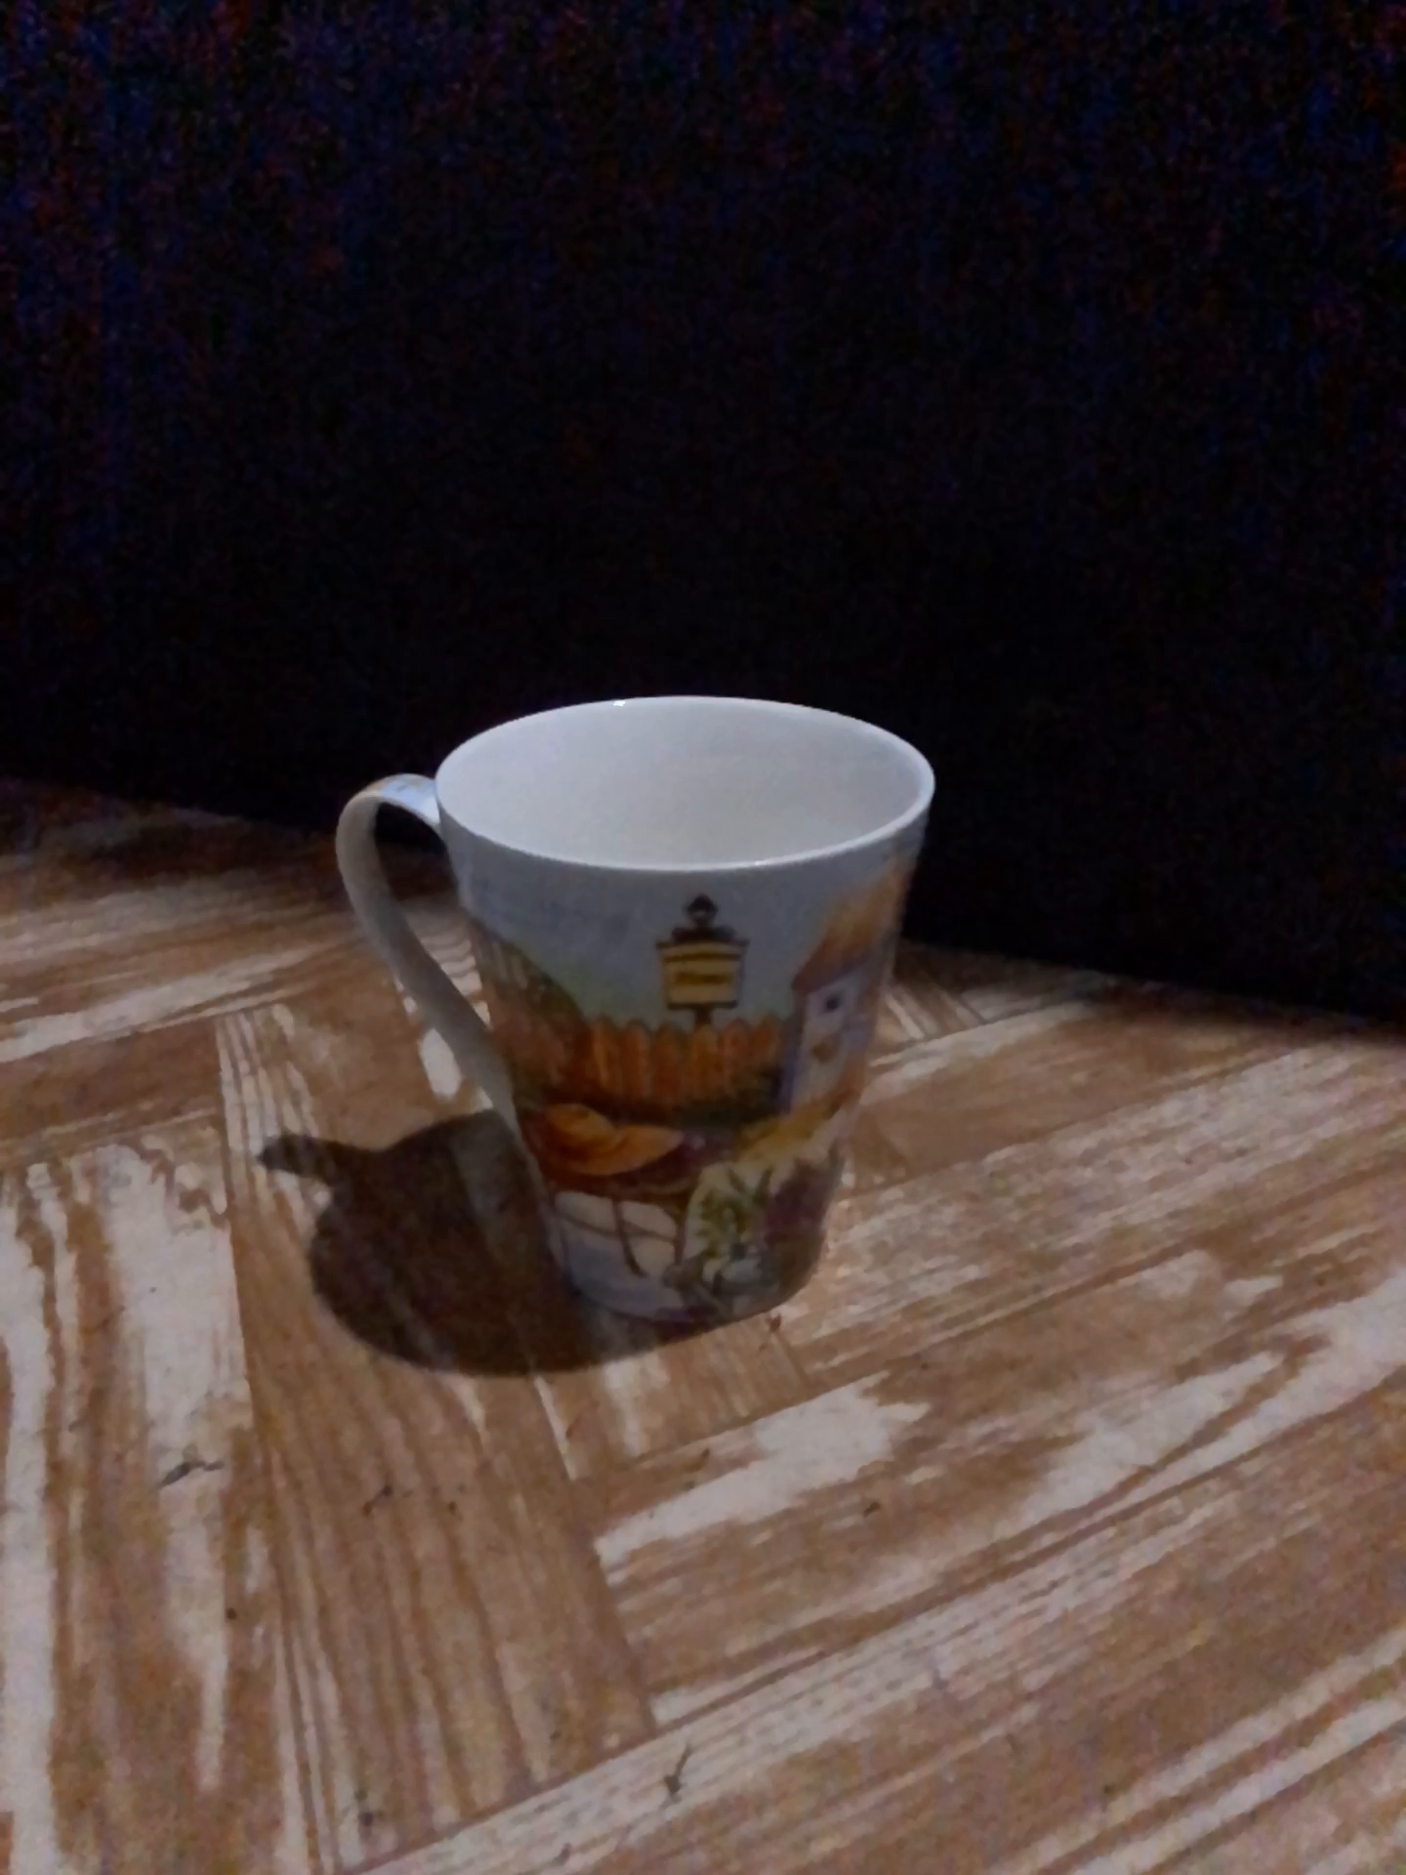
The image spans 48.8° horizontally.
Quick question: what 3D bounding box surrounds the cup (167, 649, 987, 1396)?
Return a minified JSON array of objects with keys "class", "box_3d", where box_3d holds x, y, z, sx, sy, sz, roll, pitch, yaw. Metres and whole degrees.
[{"class":"cup","box_3d":[-0.018,0.007,0.298,0.120,0.092,0.087,10,28,21]}]
